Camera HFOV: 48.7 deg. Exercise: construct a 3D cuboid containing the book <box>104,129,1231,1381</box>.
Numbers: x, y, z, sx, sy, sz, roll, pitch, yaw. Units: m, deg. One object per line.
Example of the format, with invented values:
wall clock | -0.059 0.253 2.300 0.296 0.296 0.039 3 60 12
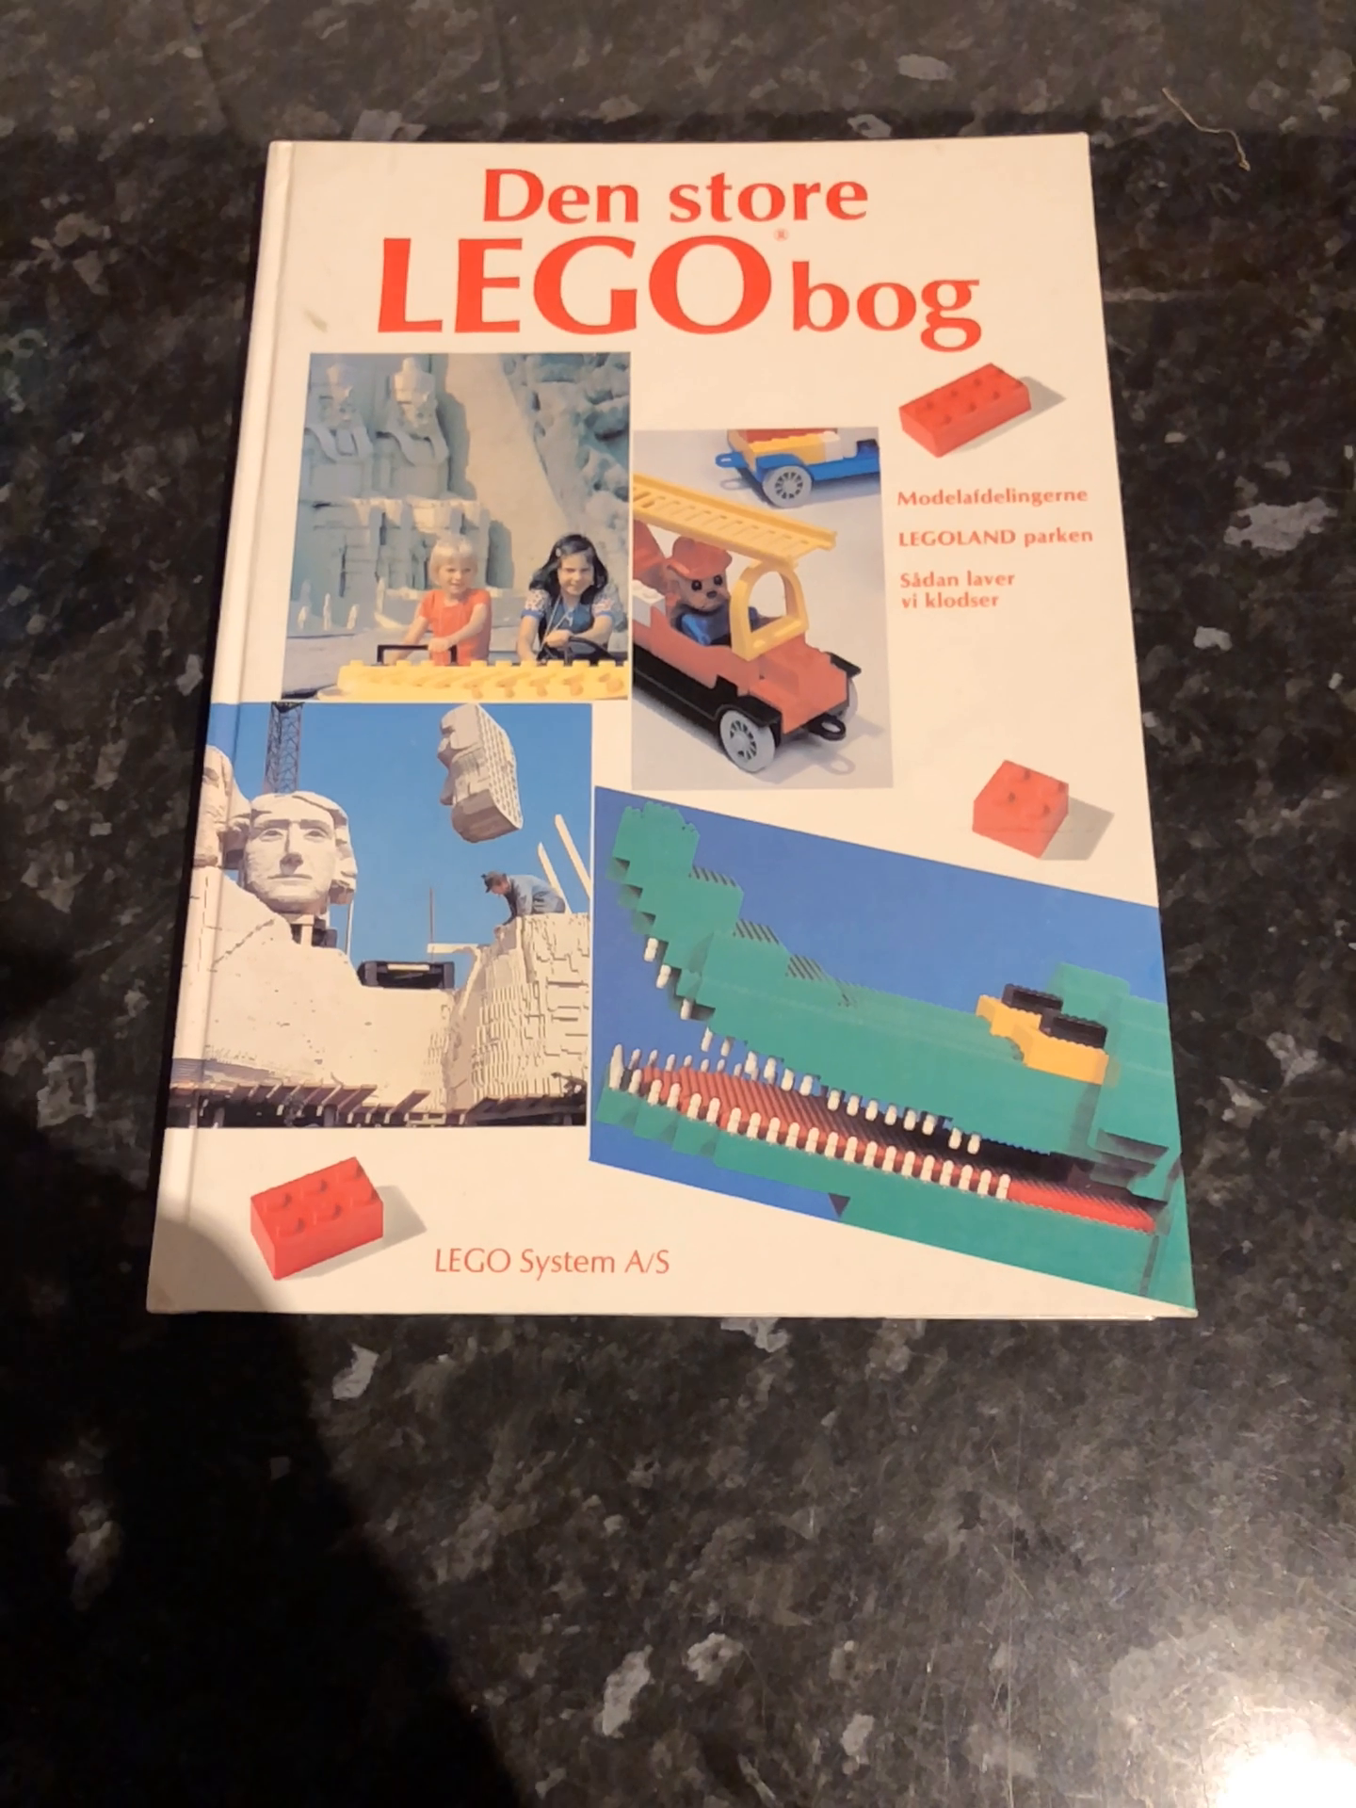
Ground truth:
book | -0.001 -0.046 0.337 0.210 0.030 0.291 0 73 0
